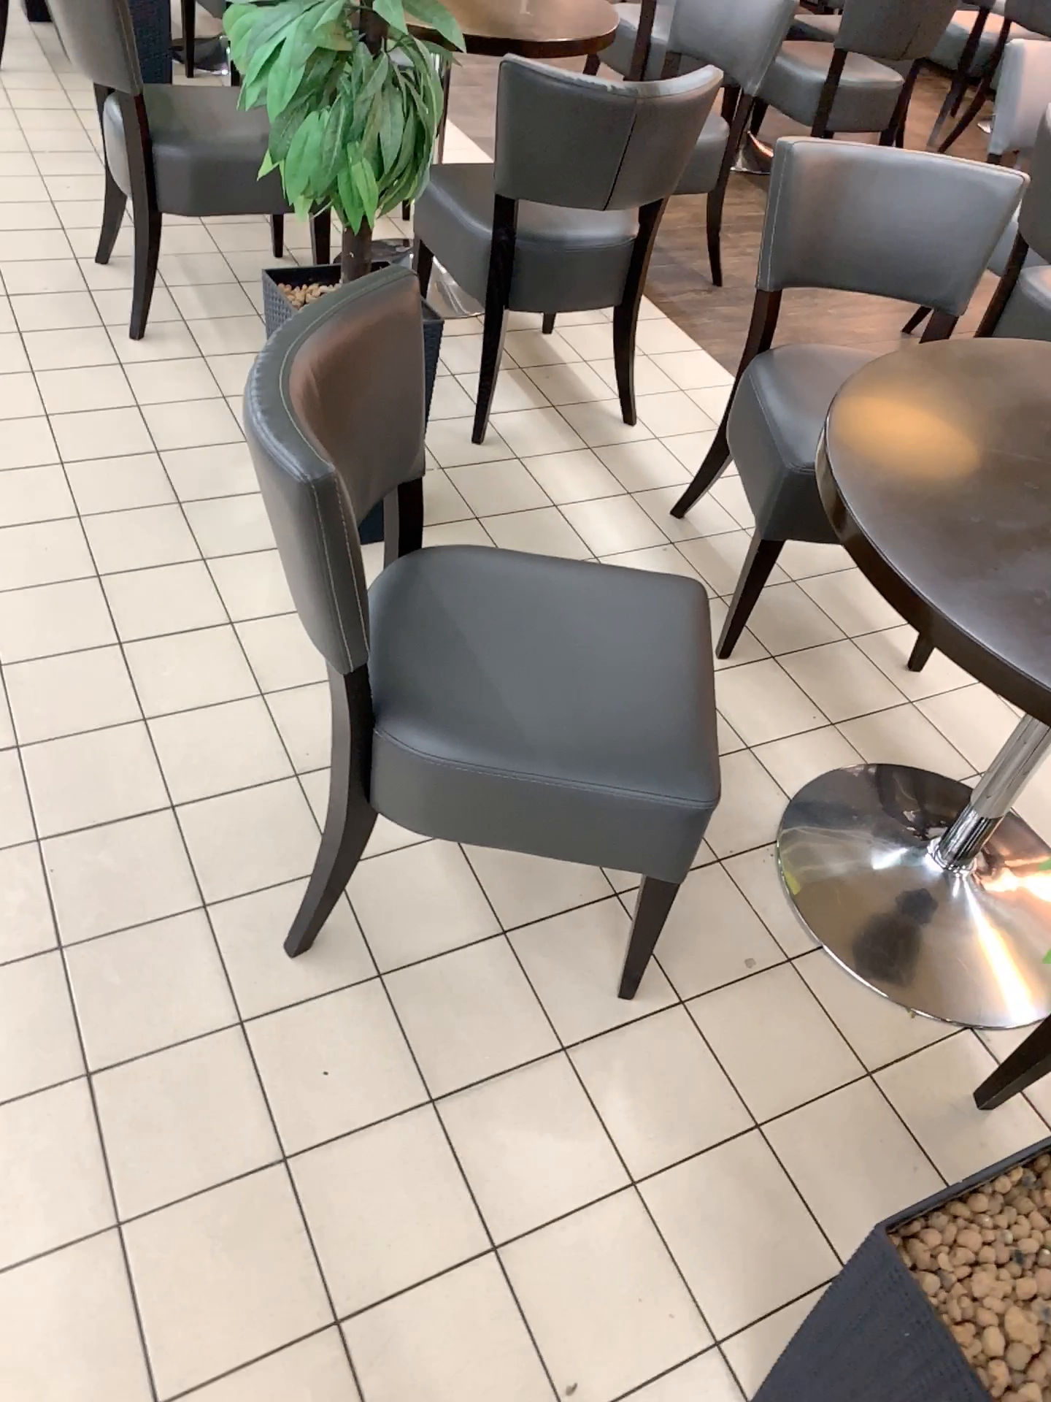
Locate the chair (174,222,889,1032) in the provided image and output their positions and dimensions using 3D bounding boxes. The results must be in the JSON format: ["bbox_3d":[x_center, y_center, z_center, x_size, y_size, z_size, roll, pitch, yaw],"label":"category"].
[{"bbox_3d":[-0.019,-0.070,1.413,0.640,0.797,0.552,11,43,-1],"label":"chair"}]
